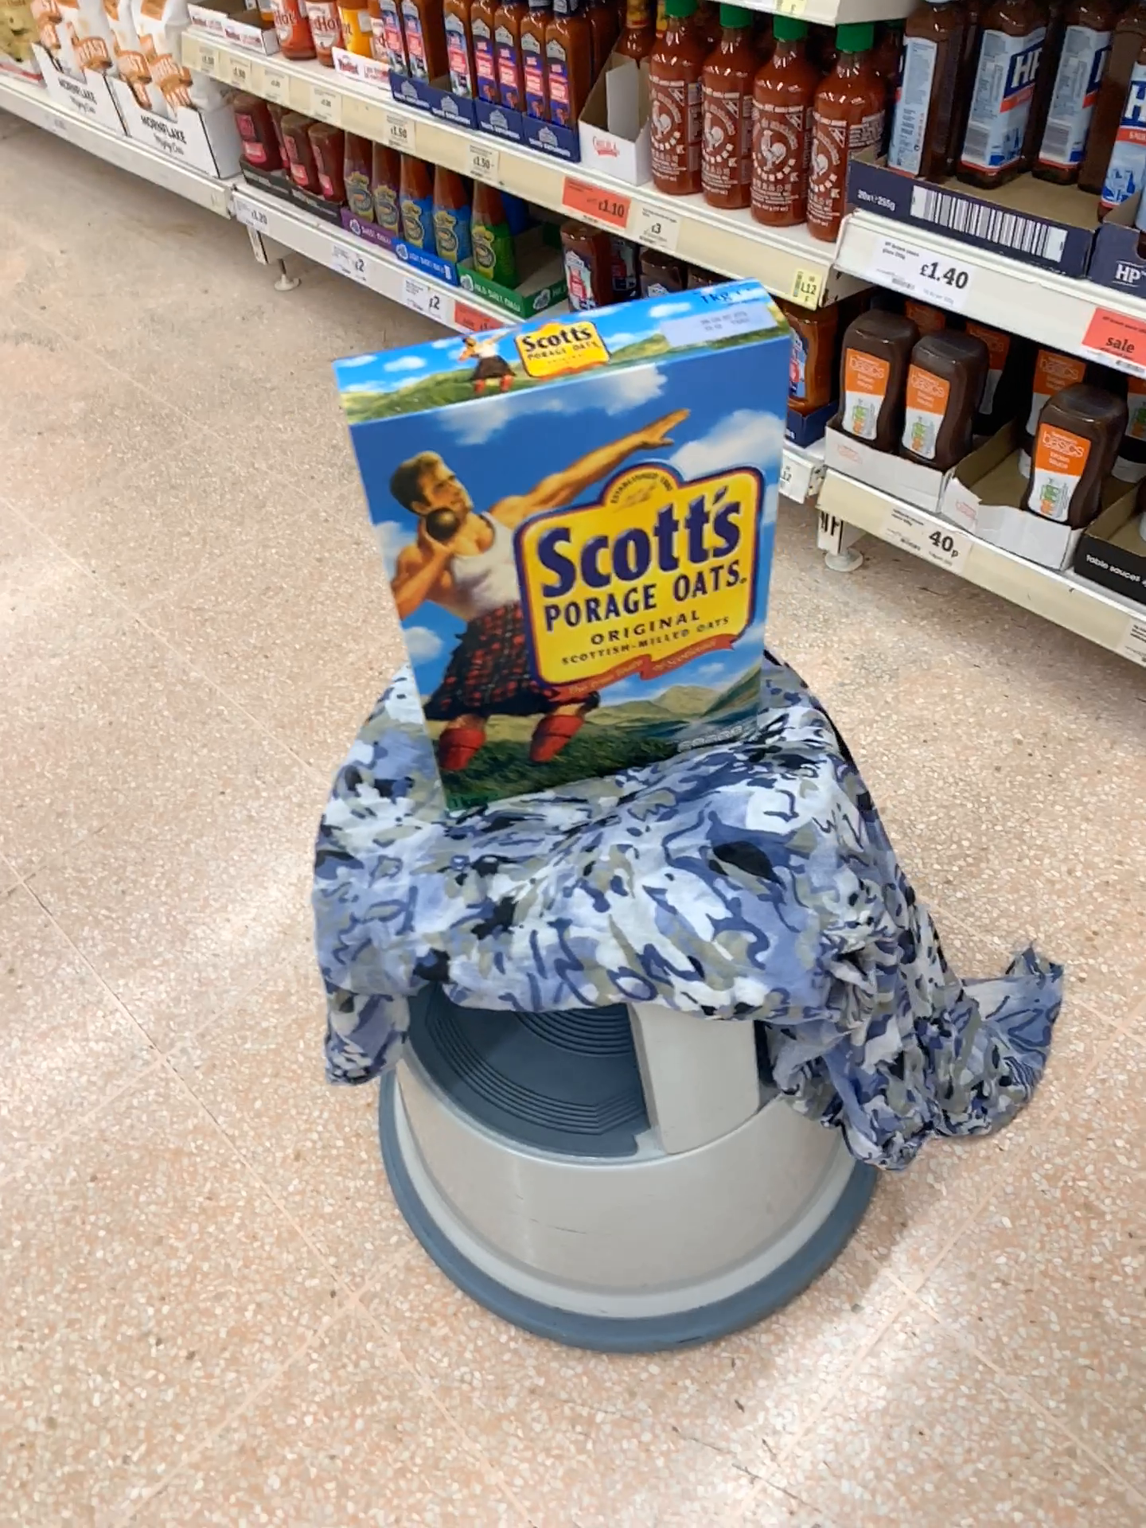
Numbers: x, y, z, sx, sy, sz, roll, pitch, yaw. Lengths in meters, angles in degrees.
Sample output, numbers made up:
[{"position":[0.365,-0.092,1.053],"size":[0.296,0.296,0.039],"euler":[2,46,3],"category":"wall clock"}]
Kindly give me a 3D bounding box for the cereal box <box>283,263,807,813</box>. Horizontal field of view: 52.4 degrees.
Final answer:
[{"position":[-0.004,-0.096,0.581],"size":[0.210,0.248,0.061],"euler":[-13,52,-5],"category":"cereal box"}]
